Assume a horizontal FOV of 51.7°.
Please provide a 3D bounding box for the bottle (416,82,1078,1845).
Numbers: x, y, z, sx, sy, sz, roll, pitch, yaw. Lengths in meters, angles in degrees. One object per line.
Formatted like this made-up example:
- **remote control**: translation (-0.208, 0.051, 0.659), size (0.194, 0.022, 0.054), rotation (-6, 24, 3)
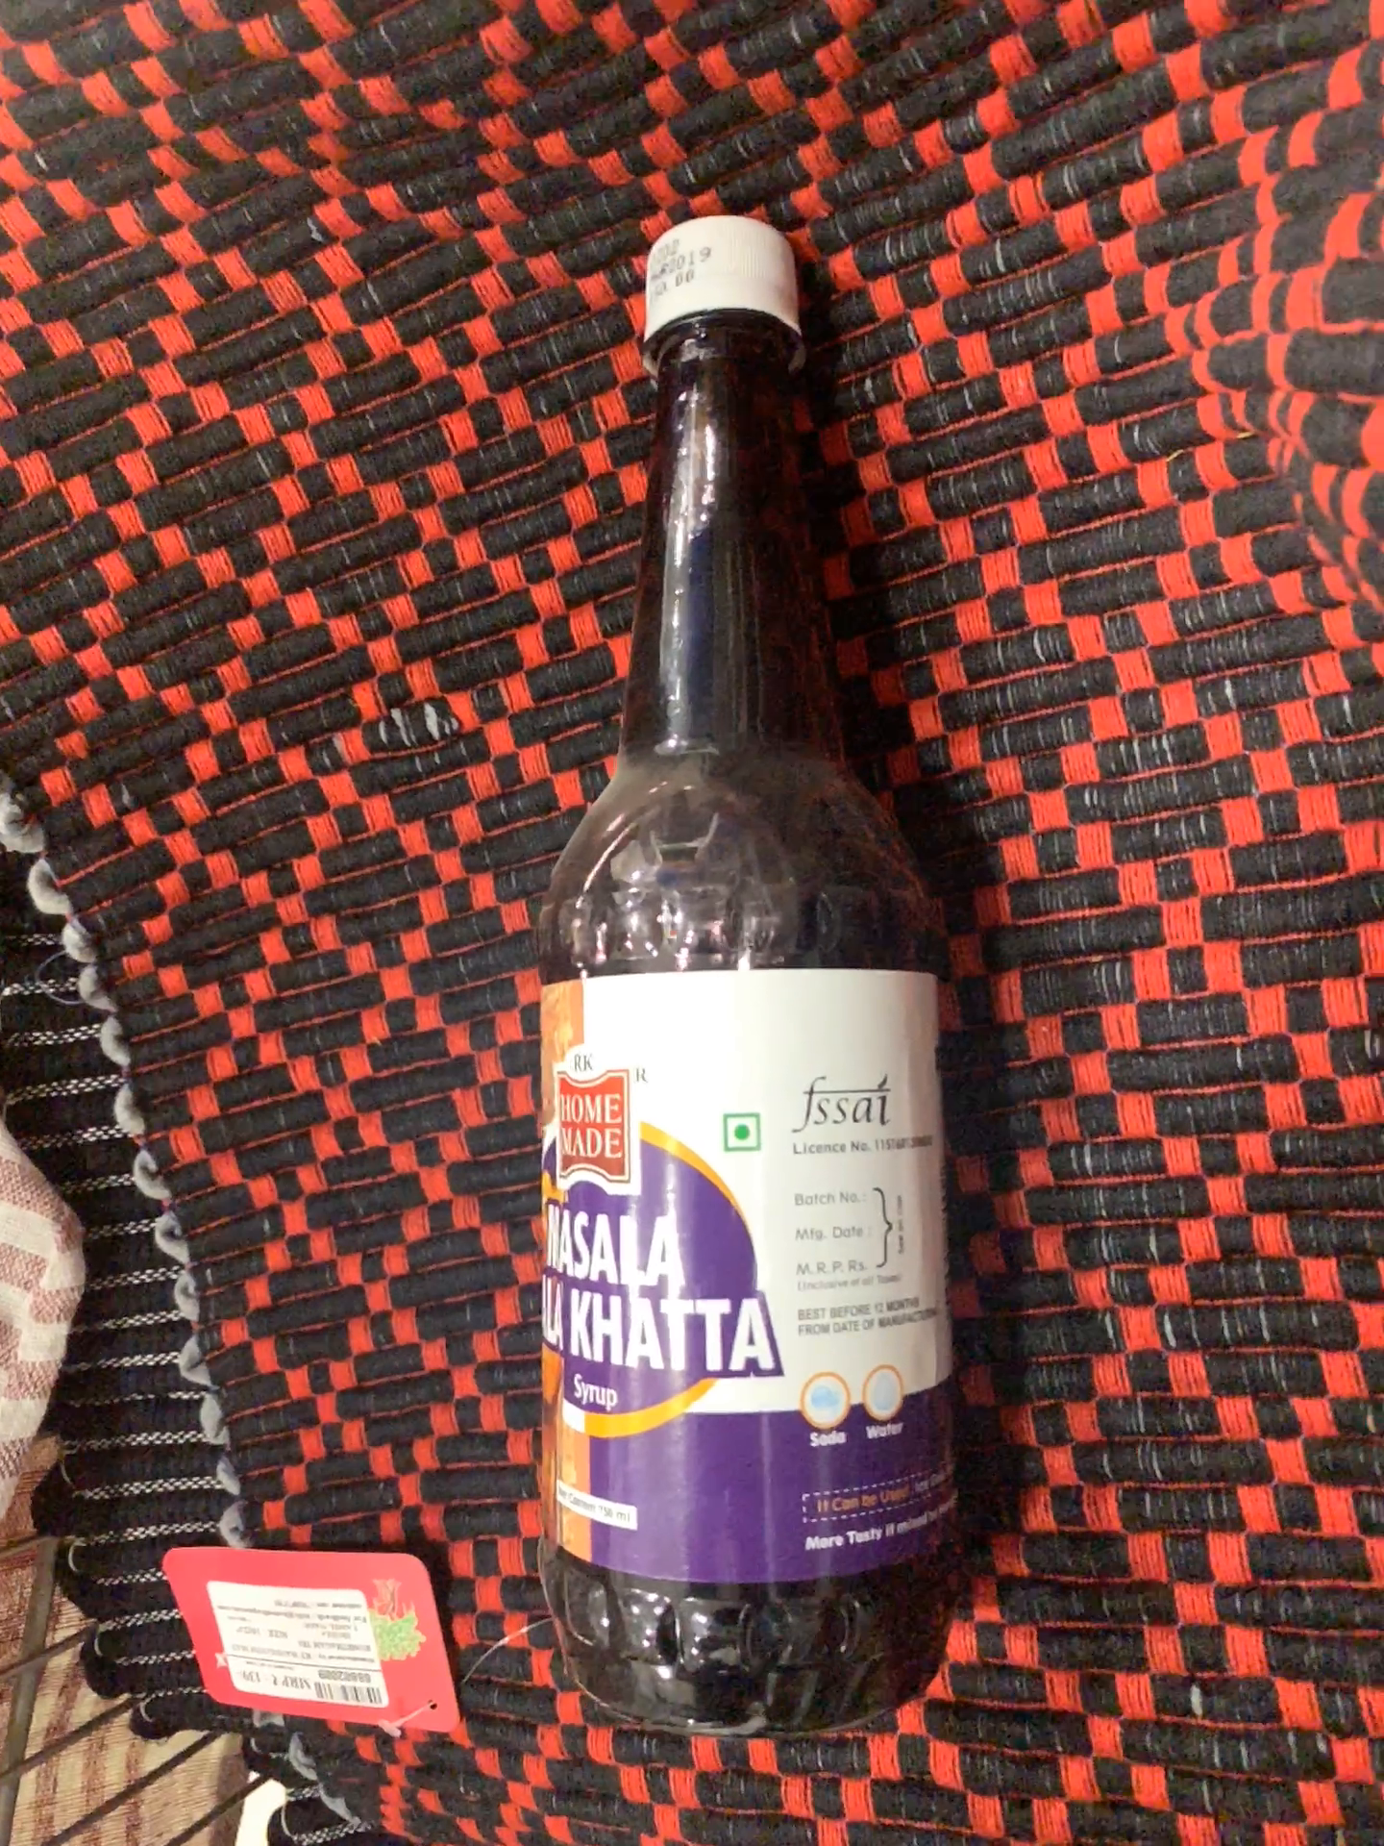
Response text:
- **bottle**: translation (0.009, 0.006, 0.258), size (0.080, 0.080, 0.260), rotation (-7, 80, 35)
